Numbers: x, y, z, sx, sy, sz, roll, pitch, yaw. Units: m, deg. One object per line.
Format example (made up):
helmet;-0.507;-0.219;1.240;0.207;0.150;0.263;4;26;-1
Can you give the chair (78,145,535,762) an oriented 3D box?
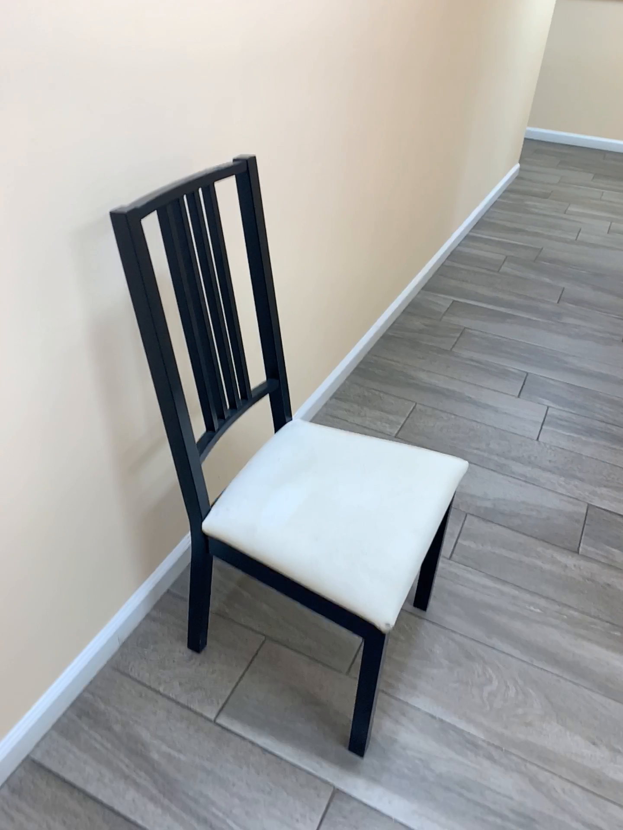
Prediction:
chair;0.000;0.093;1.172;0.498;0.962;0.441;18;39;19
